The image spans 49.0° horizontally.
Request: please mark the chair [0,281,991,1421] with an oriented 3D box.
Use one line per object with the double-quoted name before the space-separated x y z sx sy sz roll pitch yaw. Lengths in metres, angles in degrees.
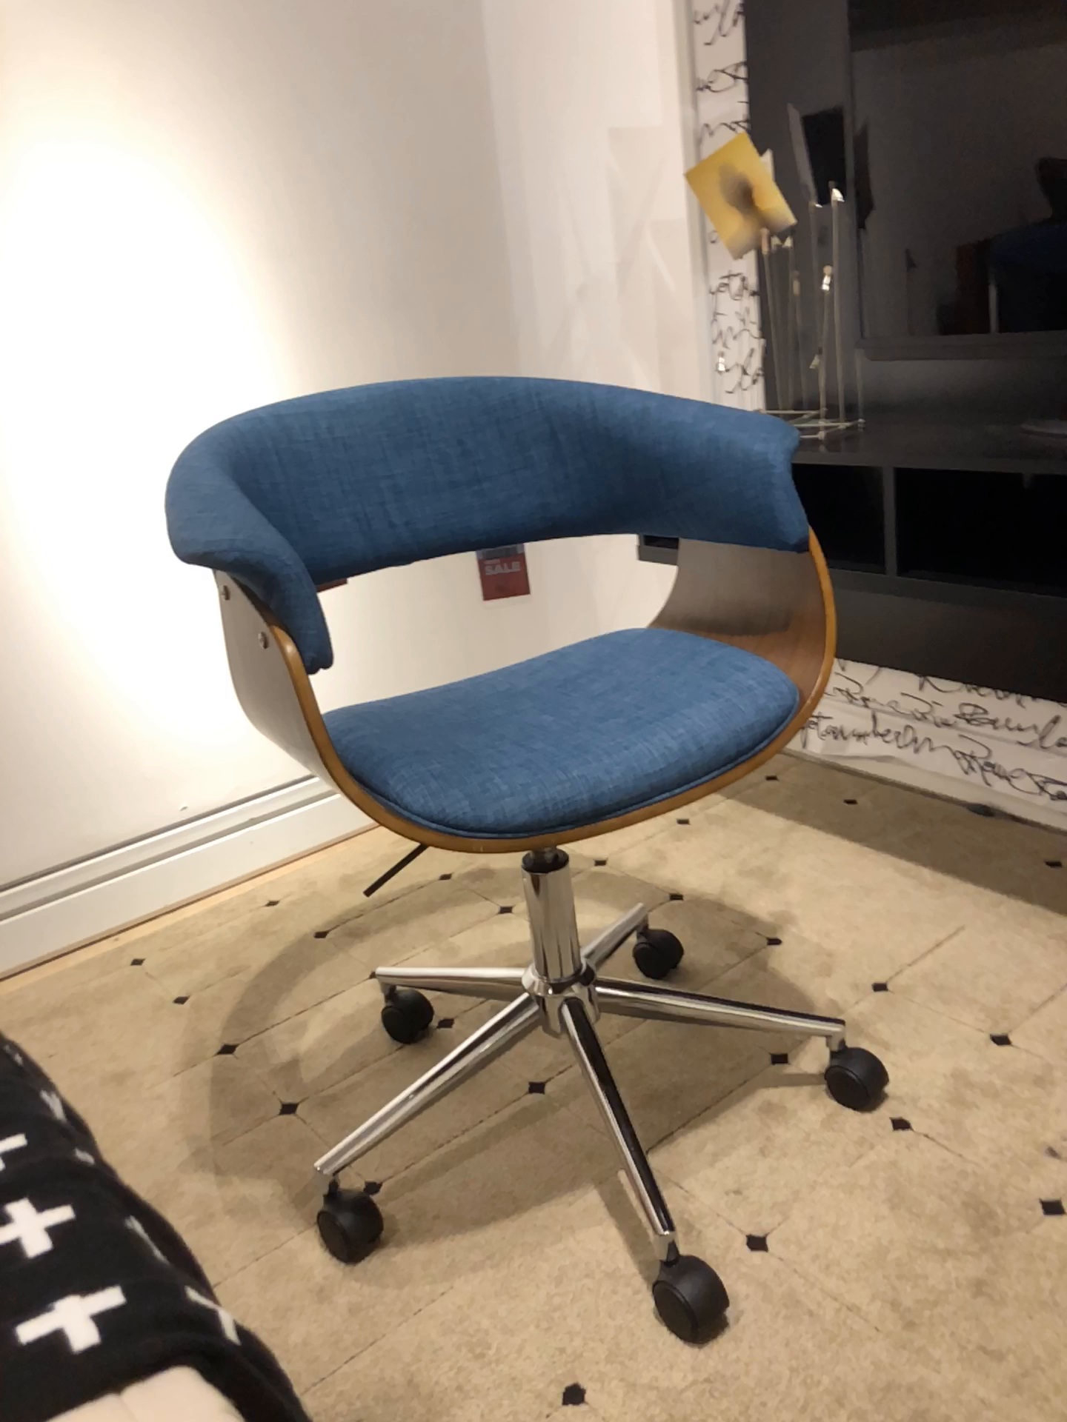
"chair" -0.043 0.046 1.135 0.611 0.775 0.673 -19 22 -31
